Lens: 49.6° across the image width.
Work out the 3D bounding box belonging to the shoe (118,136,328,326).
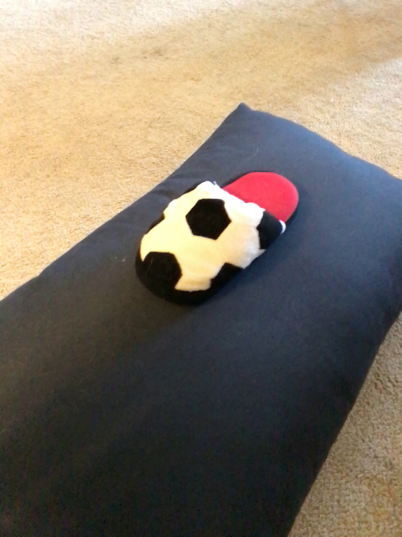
[{"bbox_3d":[0.029,-0.052,0.492,0.108,0.072,0.214,38,60,25],"label":"shoe"}]
